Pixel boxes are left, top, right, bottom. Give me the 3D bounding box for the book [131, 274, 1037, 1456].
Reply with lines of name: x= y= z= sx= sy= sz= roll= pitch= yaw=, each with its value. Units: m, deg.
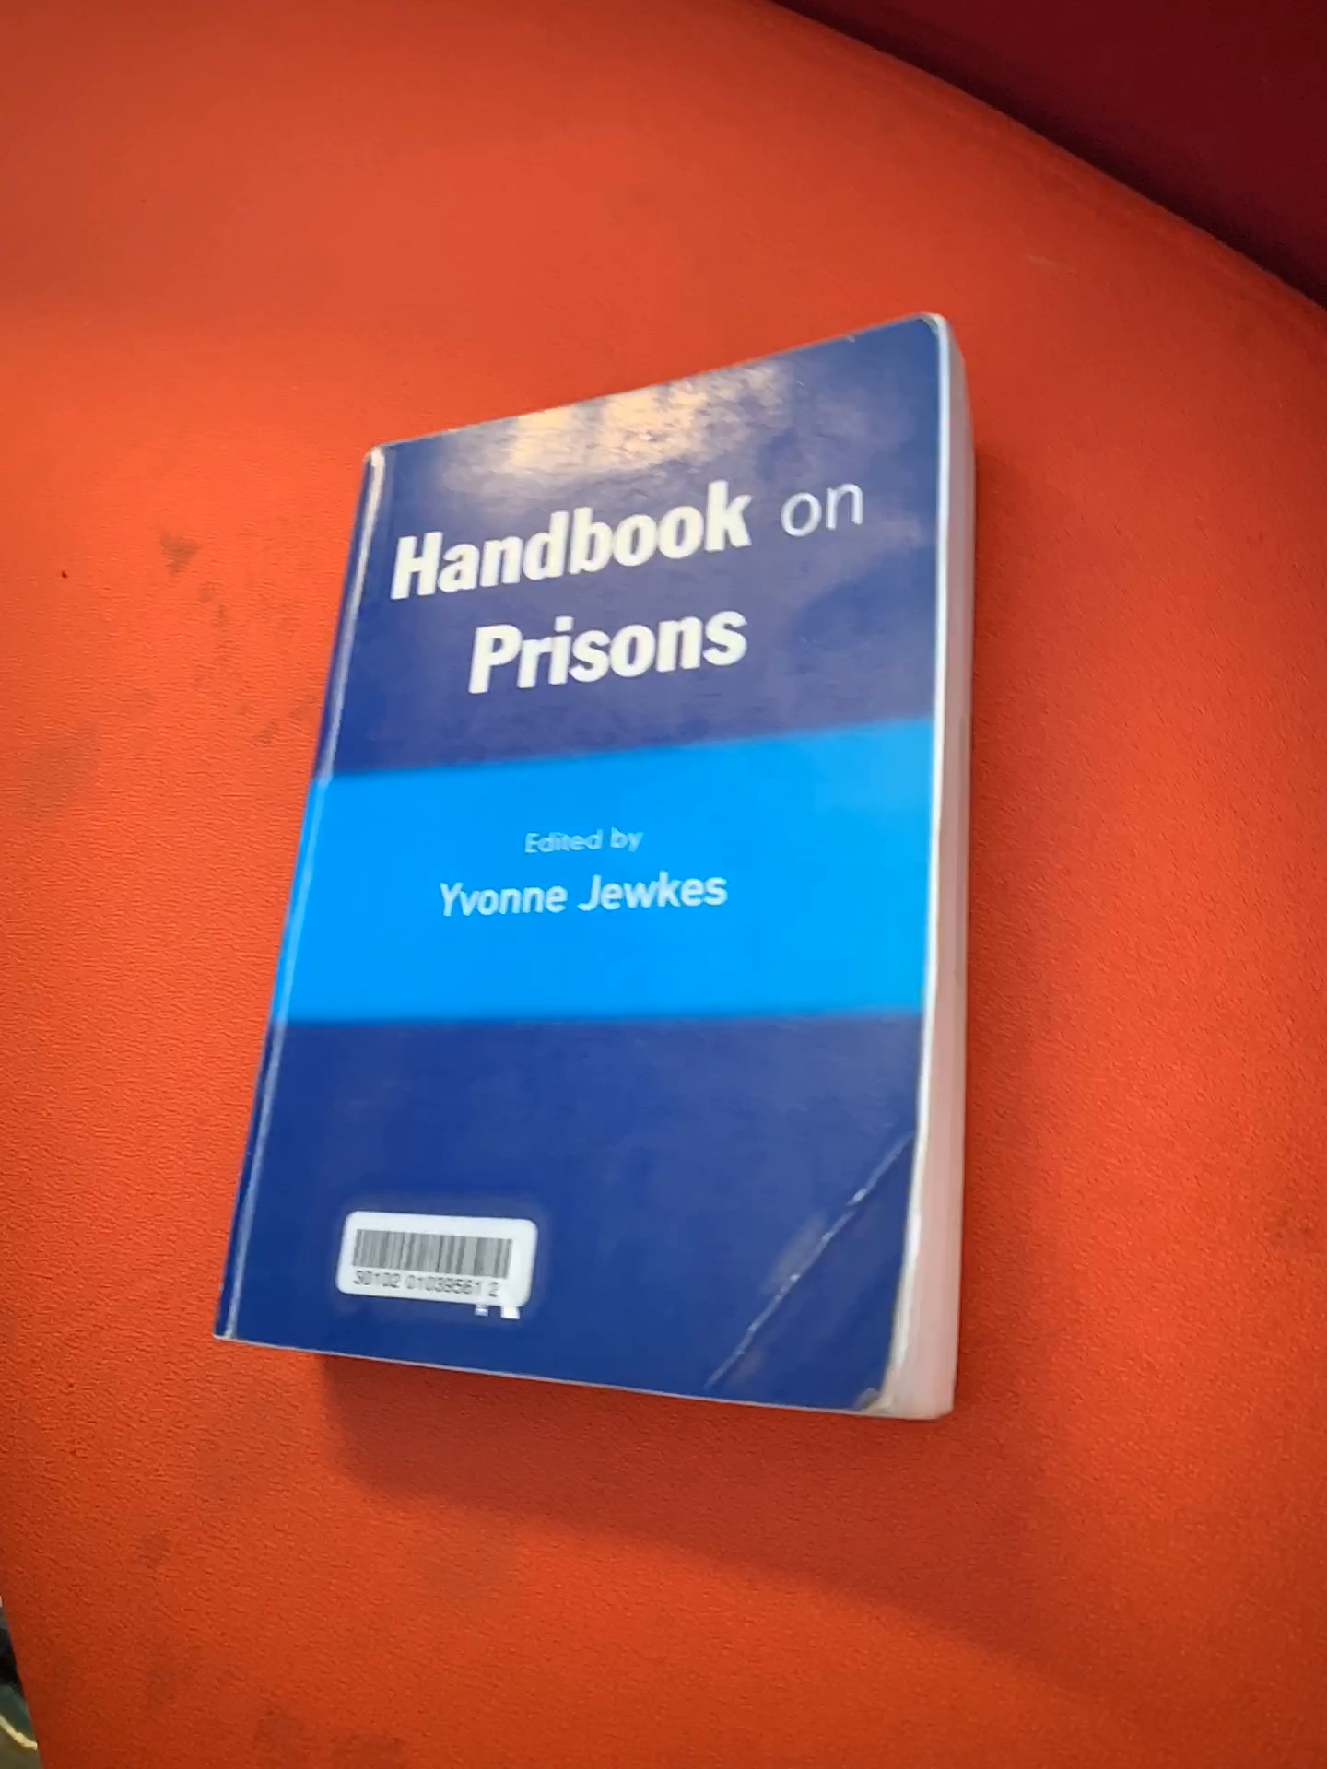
book: x=-0.011 y=-0.009 z=0.357 sx=0.200 sy=0.060 sz=0.271 roll=-4 pitch=67 yaw=25
